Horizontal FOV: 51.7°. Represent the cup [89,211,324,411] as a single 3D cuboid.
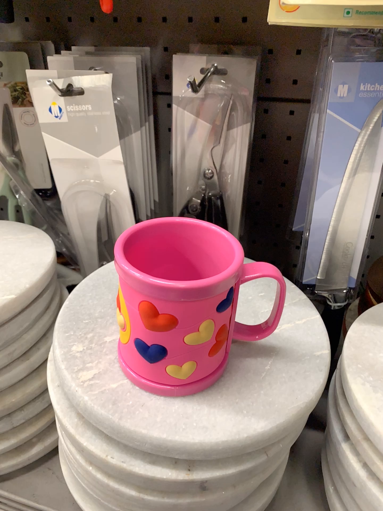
[{"bbox_3d":[0.007,0.034,0.262,0.120,0.100,0.080,-1,32,-1],"label":"cup"}]
